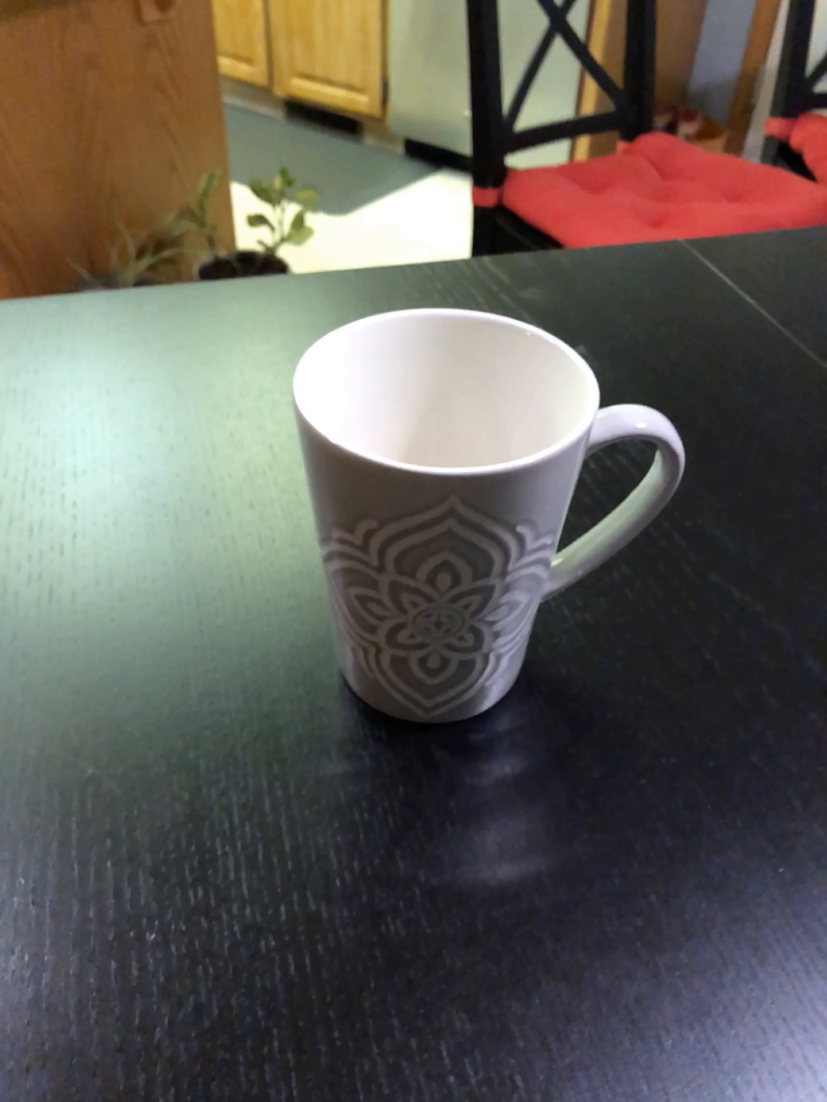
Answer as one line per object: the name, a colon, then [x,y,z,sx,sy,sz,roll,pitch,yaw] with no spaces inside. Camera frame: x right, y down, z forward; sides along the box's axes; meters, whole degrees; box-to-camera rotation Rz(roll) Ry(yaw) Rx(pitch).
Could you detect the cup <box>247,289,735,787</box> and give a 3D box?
cup: [0.017,-0.007,0.336,0.130,0.129,0.101,-8,42,-12]
